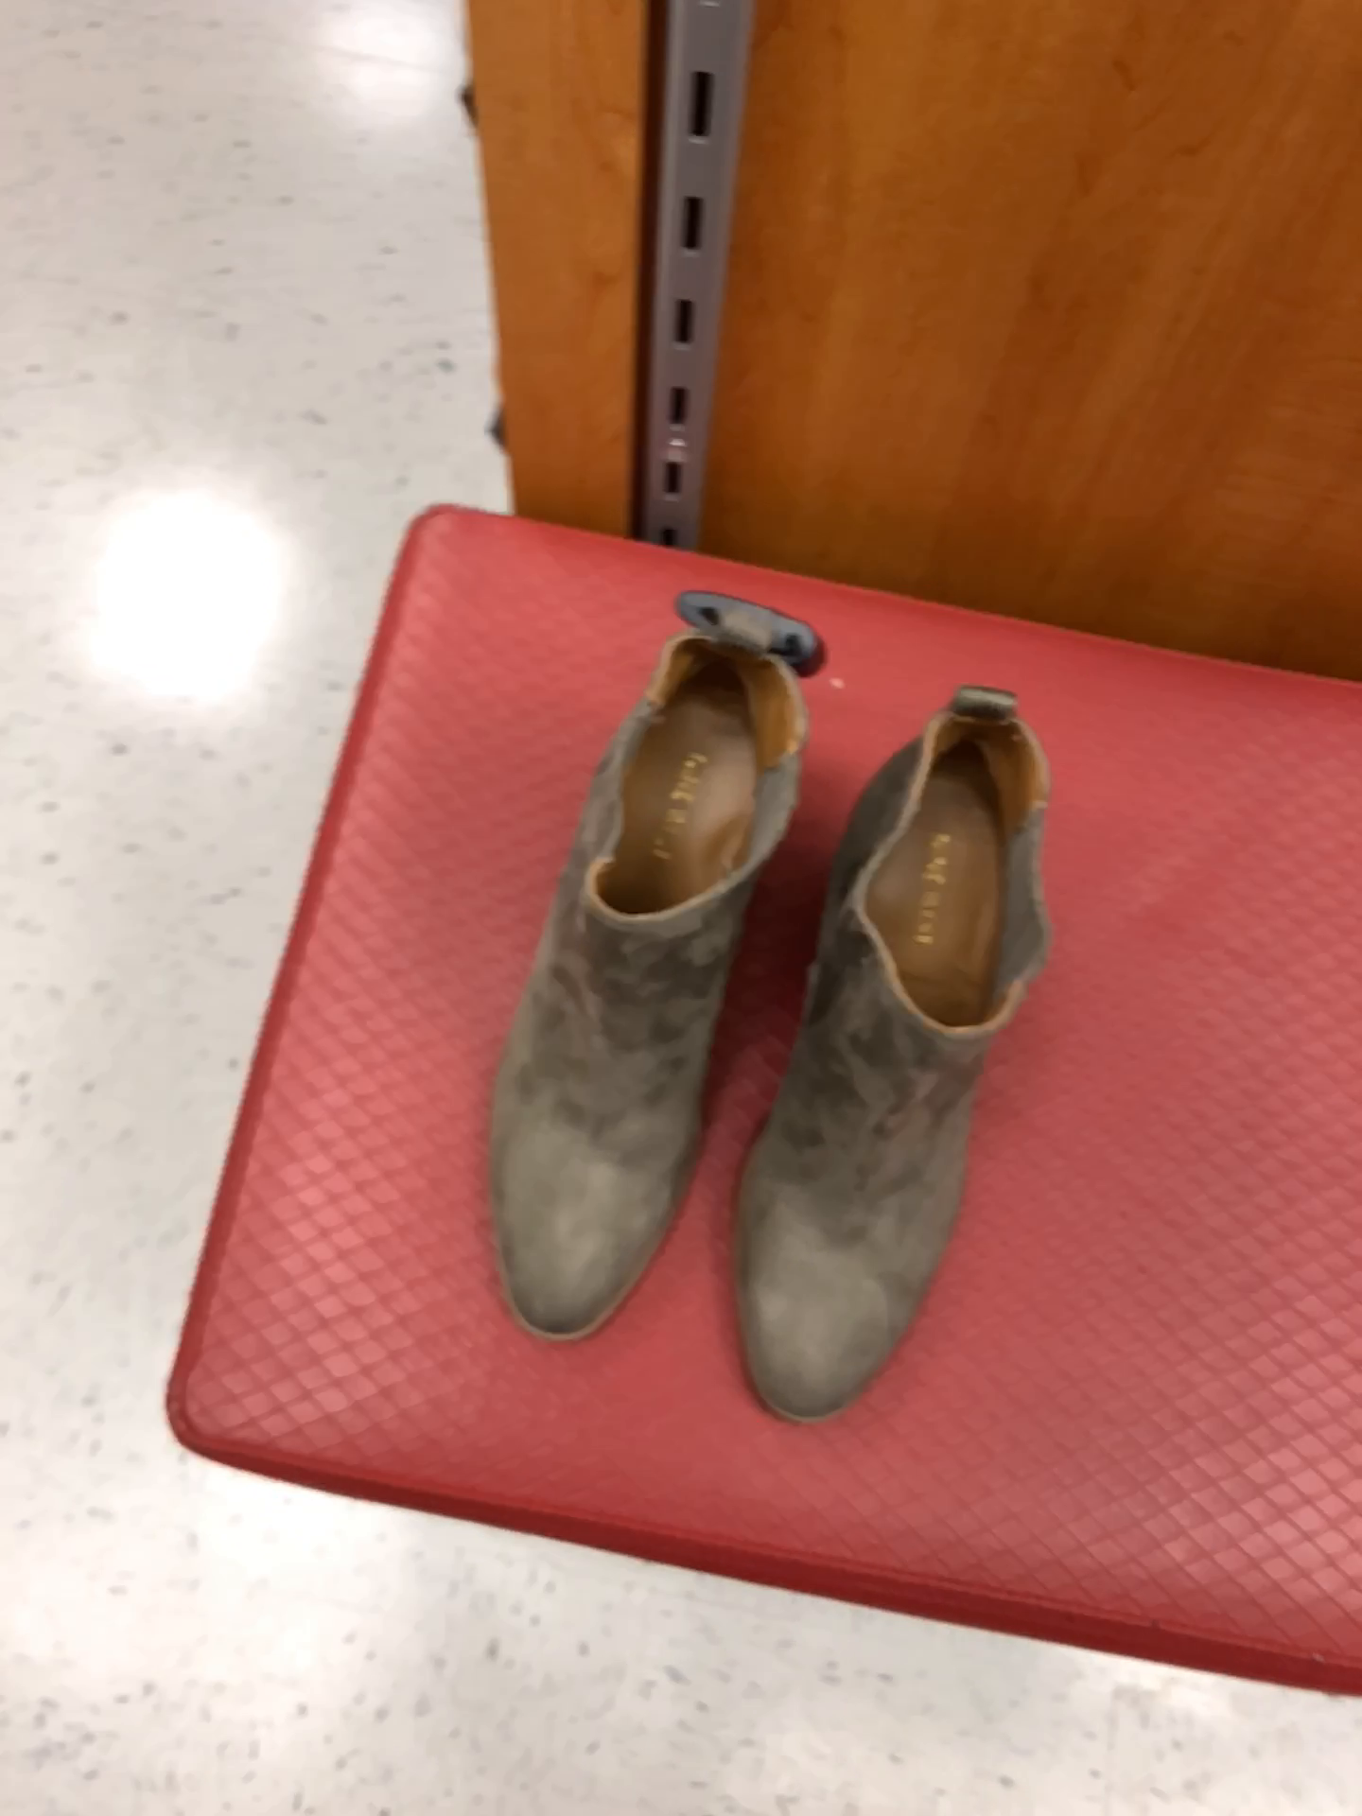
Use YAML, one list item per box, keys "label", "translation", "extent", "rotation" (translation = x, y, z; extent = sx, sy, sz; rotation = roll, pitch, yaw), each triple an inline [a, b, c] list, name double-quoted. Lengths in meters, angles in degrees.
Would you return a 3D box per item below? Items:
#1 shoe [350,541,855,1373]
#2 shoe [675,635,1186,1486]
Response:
- label: "shoe"
  translation: [-0.022, 0.027, 0.553]
  extent: [0.097, 0.160, 0.250]
  rotation: [14, 71, 2]
- label: "shoe"
  translation: [0.084, 0.060, 0.541]
  extent: [0.107, 0.150, 0.250]
  rotation: [14, 71, 2]
